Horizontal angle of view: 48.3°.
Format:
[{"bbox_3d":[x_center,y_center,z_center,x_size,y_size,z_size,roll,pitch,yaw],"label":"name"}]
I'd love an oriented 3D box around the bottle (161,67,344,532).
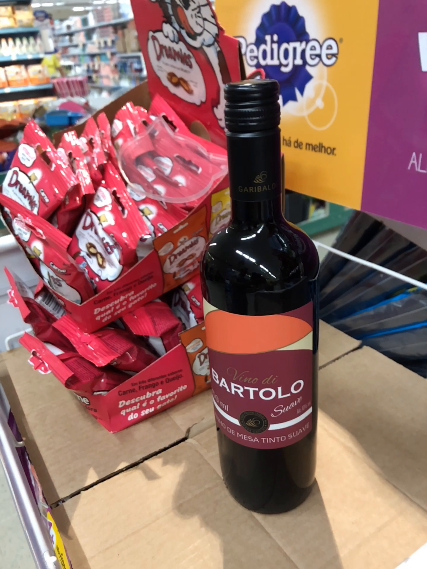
[{"bbox_3d":[0.035,0.026,0.310,0.080,0.298,0.060,5,28,20],"label":"bottle"}]
